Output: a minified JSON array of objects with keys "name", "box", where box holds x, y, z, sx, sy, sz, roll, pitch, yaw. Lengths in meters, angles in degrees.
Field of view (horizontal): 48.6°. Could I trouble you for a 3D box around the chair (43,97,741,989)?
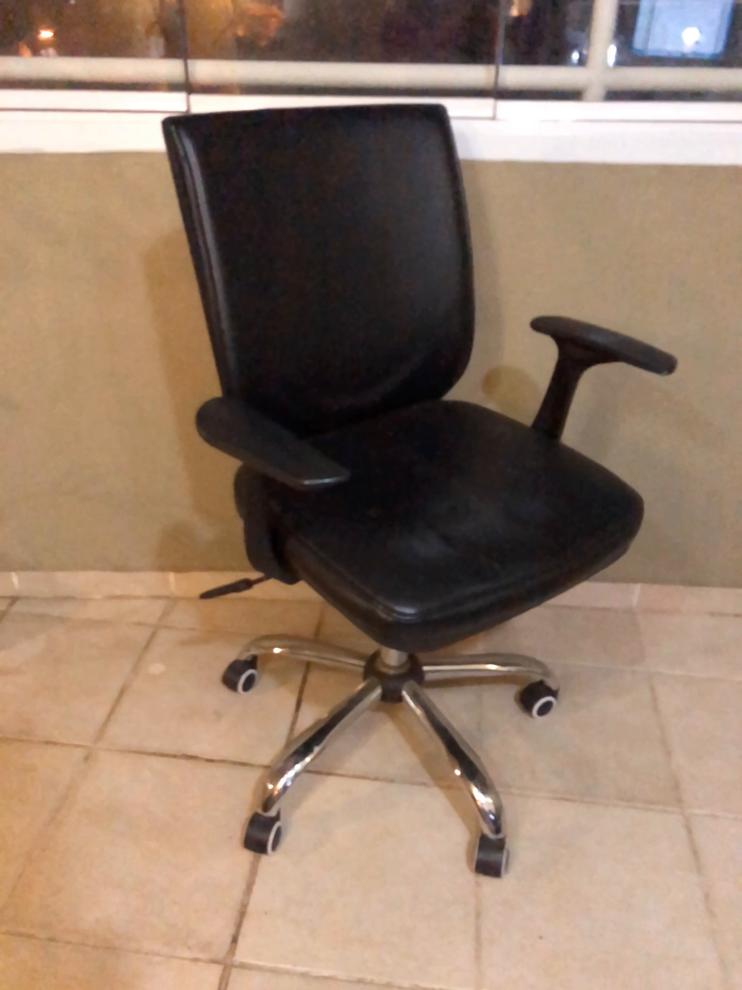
[{"name":"chair","box":[0.050,-0.017,1.175,0.662,0.933,0.663,-19,35,-30]}]
